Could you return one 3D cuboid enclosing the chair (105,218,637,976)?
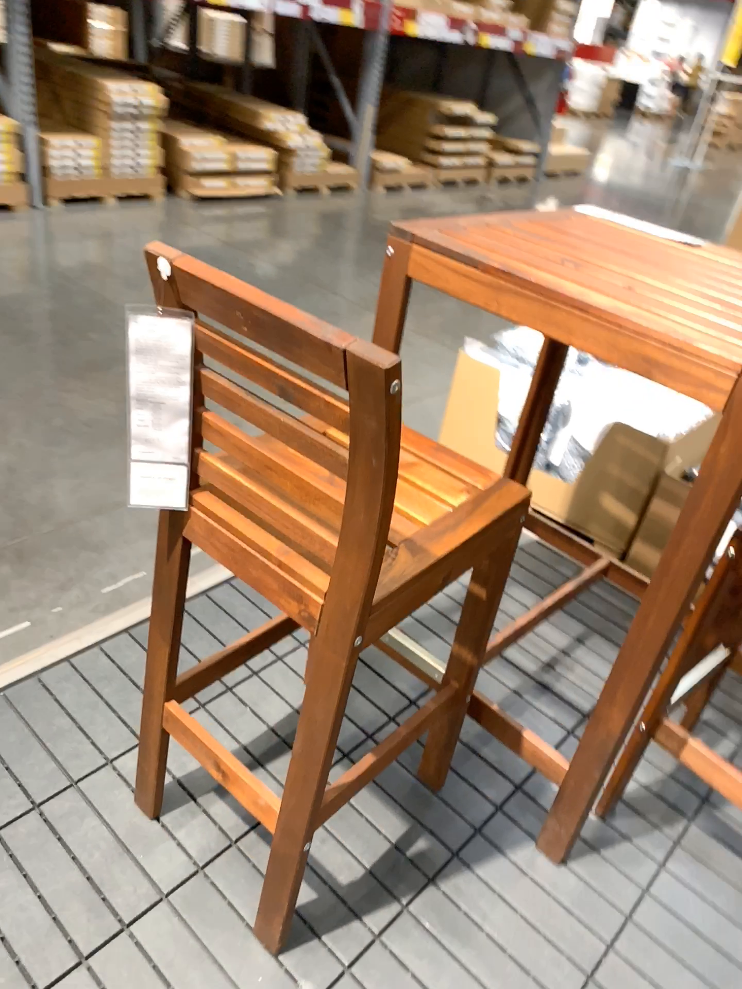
[{"bbox_3d":[-0.051,0.149,1.200,0.431,0.995,0.522,31,37,29],"label":"chair"}]
